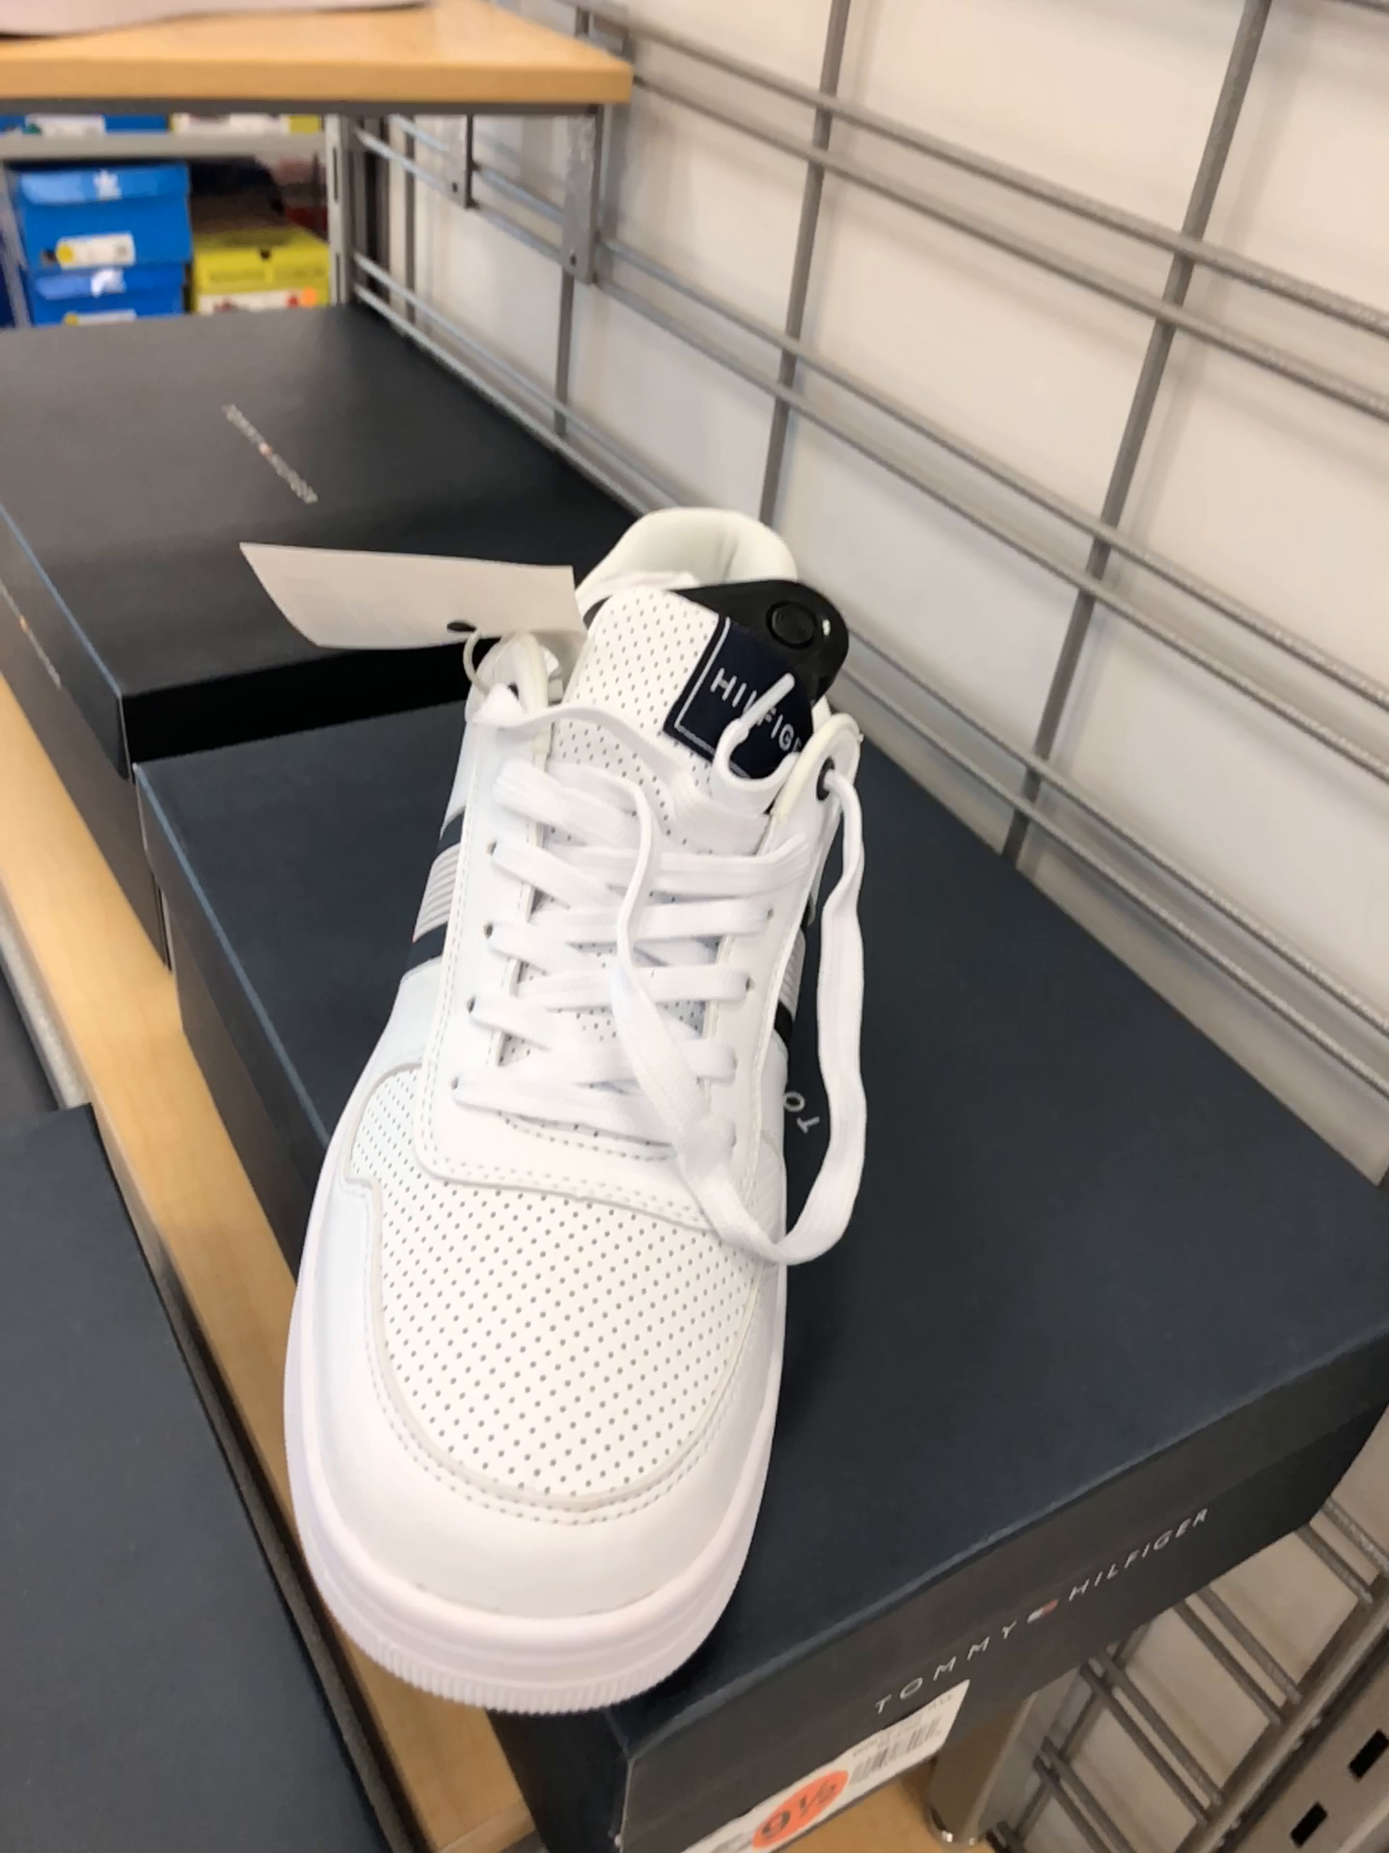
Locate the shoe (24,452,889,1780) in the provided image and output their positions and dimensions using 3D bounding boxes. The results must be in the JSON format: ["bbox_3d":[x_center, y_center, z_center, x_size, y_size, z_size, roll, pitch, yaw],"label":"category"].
[{"bbox_3d":[-0.024,0.008,0.338,0.110,0.109,0.282,8,38,0],"label":"shoe"}]
